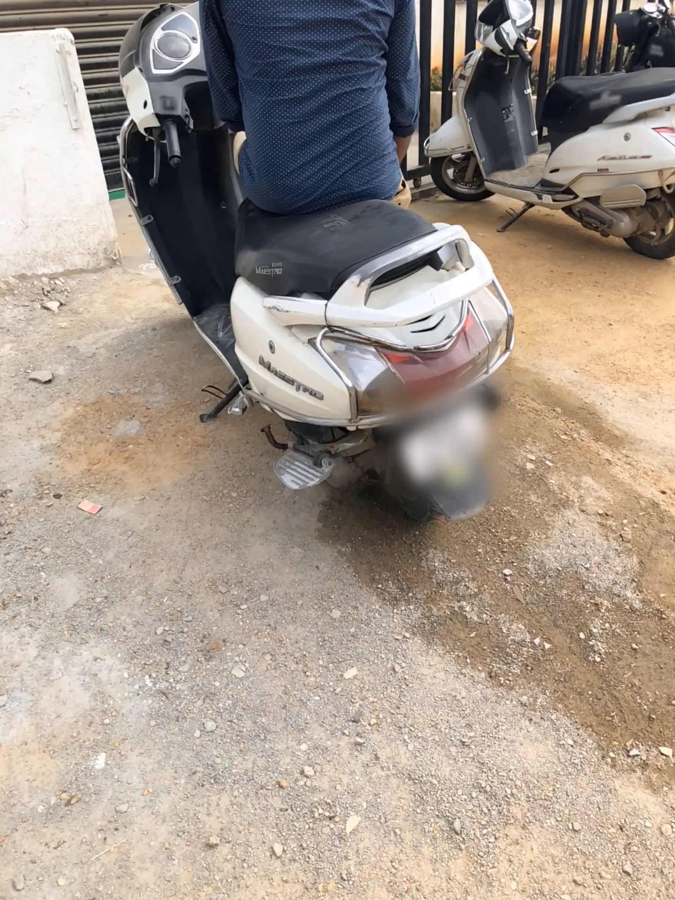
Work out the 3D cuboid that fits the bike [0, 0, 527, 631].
[{"bbox_3d":[-0.348,-0.619,1.980,0.602,1.231,1.558,-21,40,-28],"label":"bike"}]
